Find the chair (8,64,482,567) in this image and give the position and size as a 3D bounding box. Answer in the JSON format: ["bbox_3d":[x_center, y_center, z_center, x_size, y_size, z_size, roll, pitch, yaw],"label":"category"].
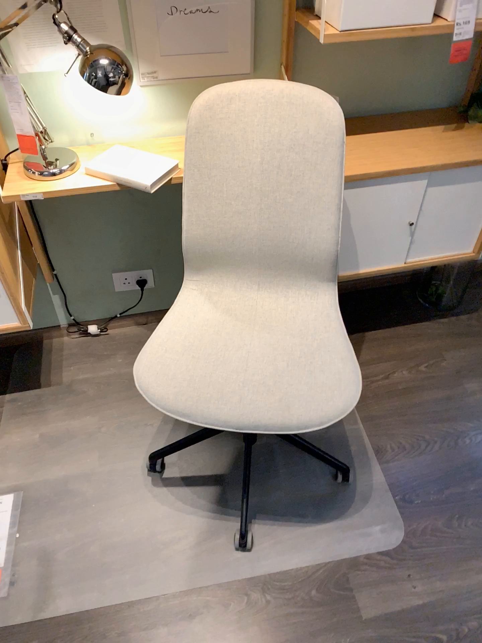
[{"bbox_3d":[0.056,0.029,1.154,0.620,0.966,0.622,6,45,6],"label":"chair"}]
